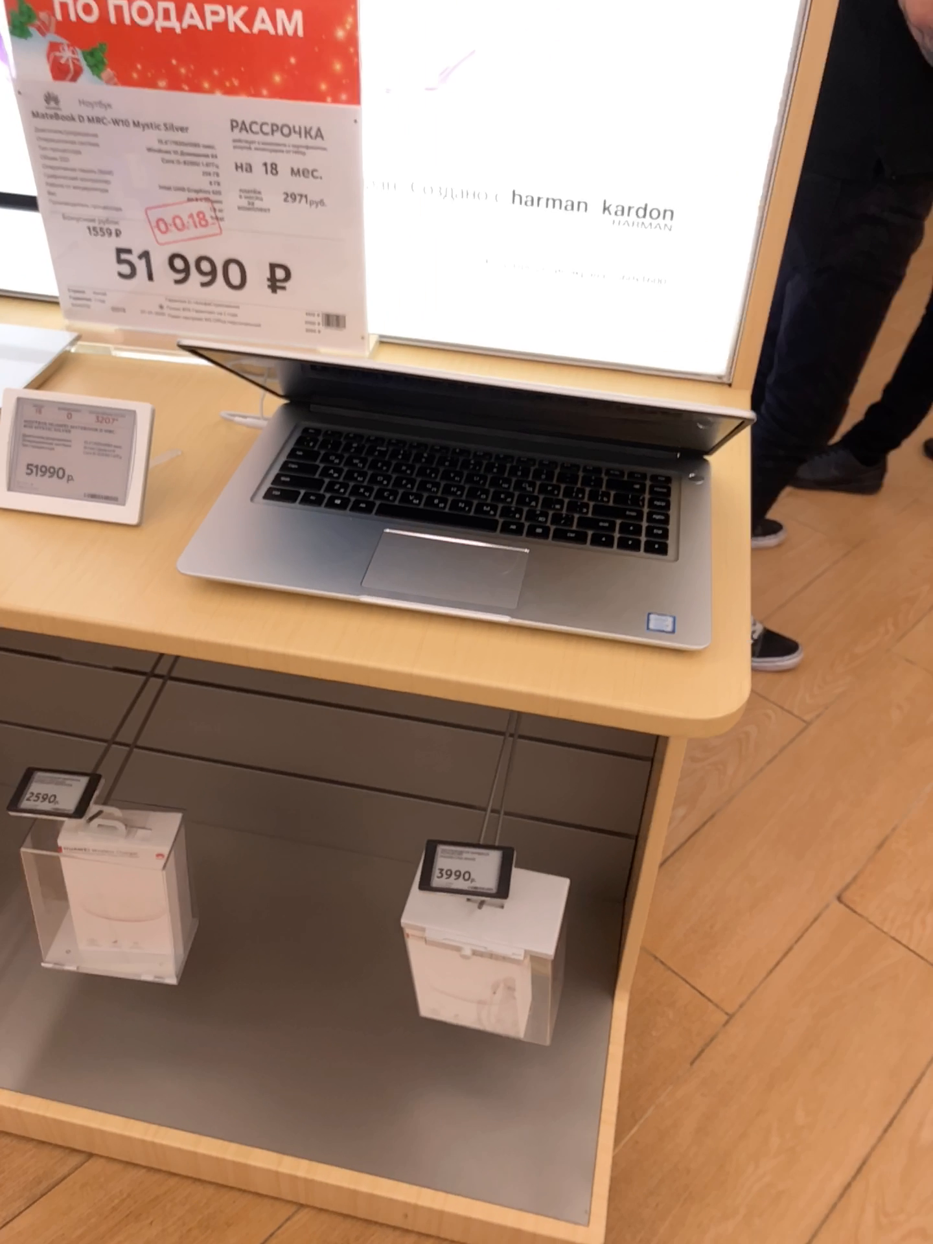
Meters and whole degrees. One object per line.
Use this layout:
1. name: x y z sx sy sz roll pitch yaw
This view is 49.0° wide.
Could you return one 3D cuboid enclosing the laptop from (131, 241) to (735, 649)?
1. laptop: -0.008 -0.134 0.697 0.342 0.135 0.231 8 40 7
